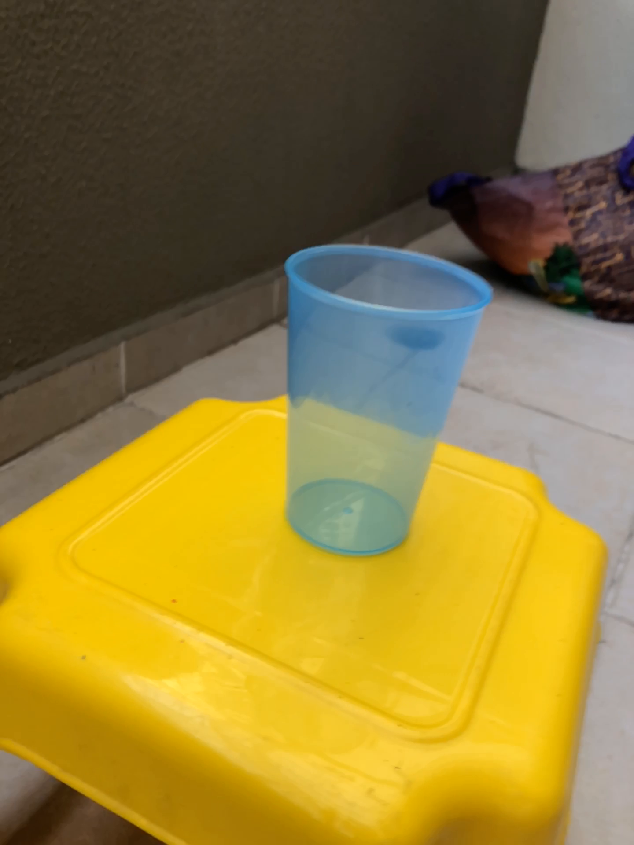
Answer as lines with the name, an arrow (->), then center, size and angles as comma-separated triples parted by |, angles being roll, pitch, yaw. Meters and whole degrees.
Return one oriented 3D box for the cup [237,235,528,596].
cup -> 0.024, -0.007, 0.269 | 0.080, 0.099, 0.070 | 15, 30, 15
